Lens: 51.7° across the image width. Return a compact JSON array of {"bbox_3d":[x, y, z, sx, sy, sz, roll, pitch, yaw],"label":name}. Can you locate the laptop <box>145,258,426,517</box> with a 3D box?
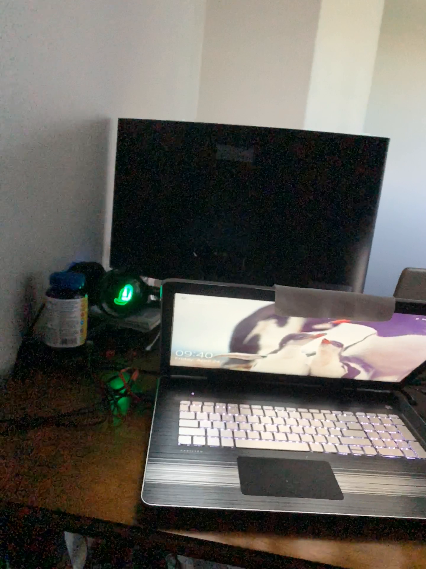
[{"bbox_3d":[0.128,0.108,0.568,0.393,0.187,0.258,5,16,-5],"label":"laptop"}]
